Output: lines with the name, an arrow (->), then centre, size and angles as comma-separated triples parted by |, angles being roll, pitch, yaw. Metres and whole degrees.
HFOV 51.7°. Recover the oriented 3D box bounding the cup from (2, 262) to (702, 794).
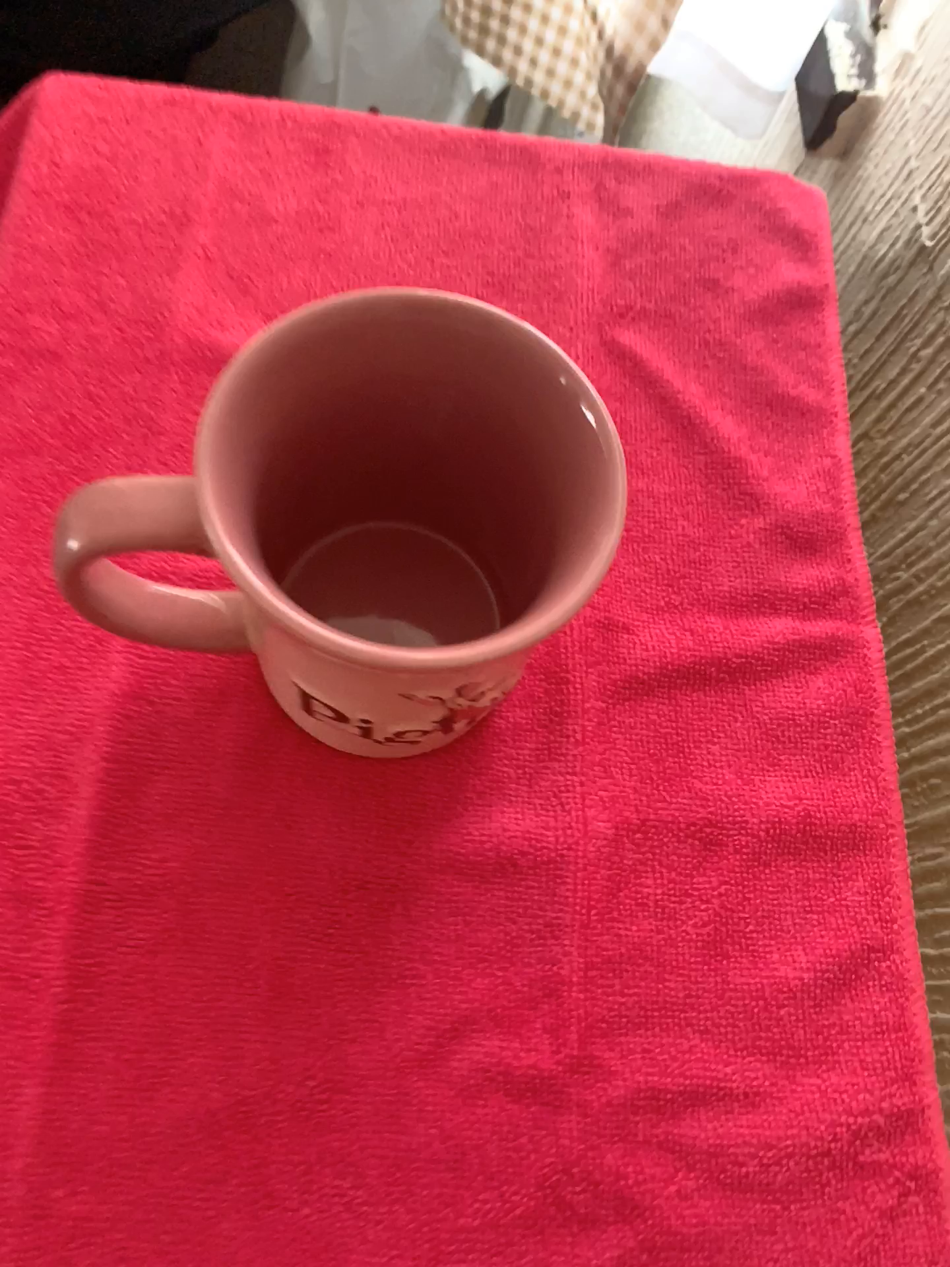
cup -> -0.029, -0.016, 0.250 | 0.130, 0.110, 0.090 | 1, 69, -9
